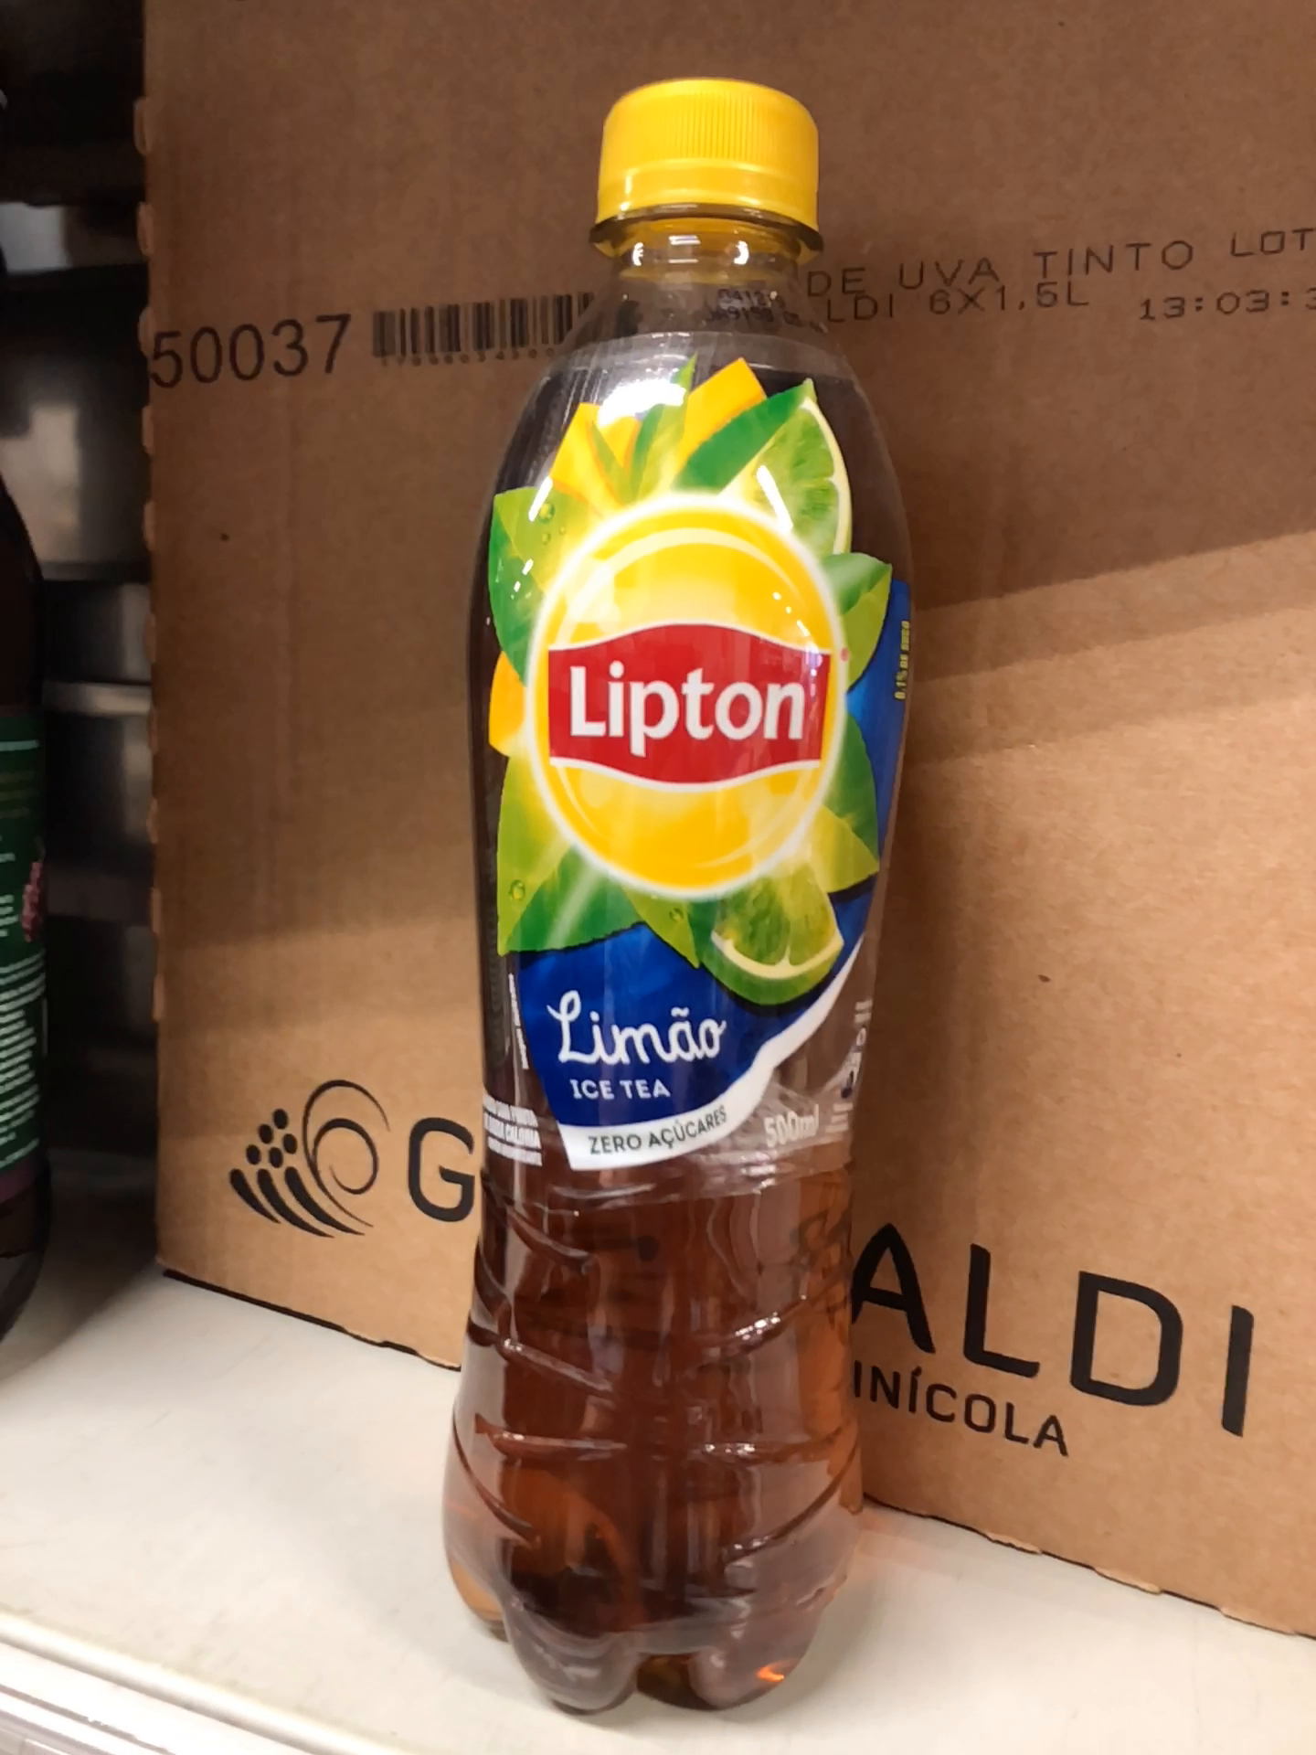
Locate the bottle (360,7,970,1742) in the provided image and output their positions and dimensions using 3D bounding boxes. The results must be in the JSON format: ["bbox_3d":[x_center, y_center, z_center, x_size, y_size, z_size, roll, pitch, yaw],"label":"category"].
[{"bbox_3d":[0.000,0.003,0.215,0.070,0.219,0.060,1,9,3],"label":"bottle"}]
